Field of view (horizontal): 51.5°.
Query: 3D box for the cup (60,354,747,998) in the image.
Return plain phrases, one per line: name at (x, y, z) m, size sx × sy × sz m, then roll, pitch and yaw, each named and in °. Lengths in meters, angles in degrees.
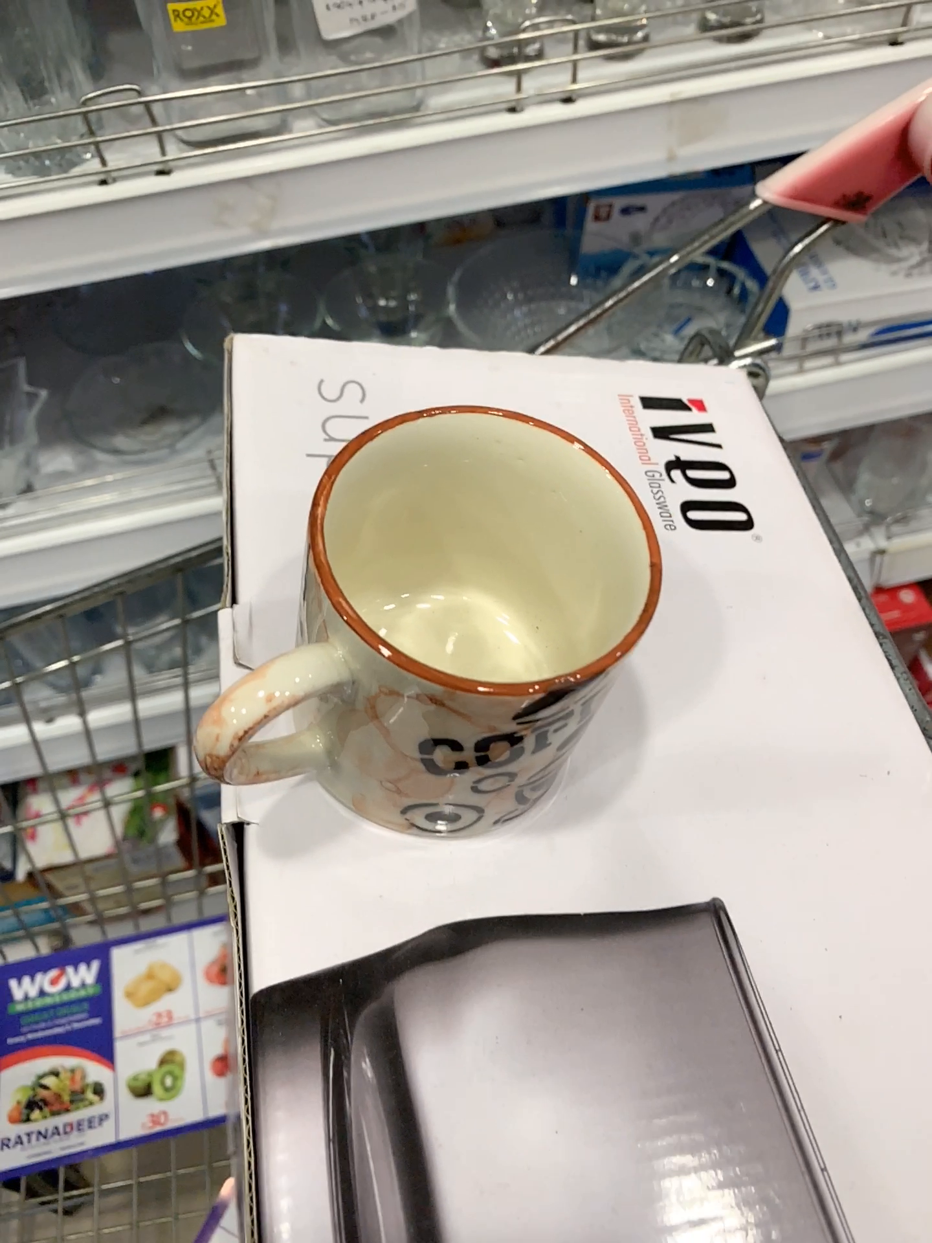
cup at (-0.013, 0.006, 0.198) m, size 0.100 × 0.070 × 0.070 m, roll -26°, pitch 57°, yaw -28°
